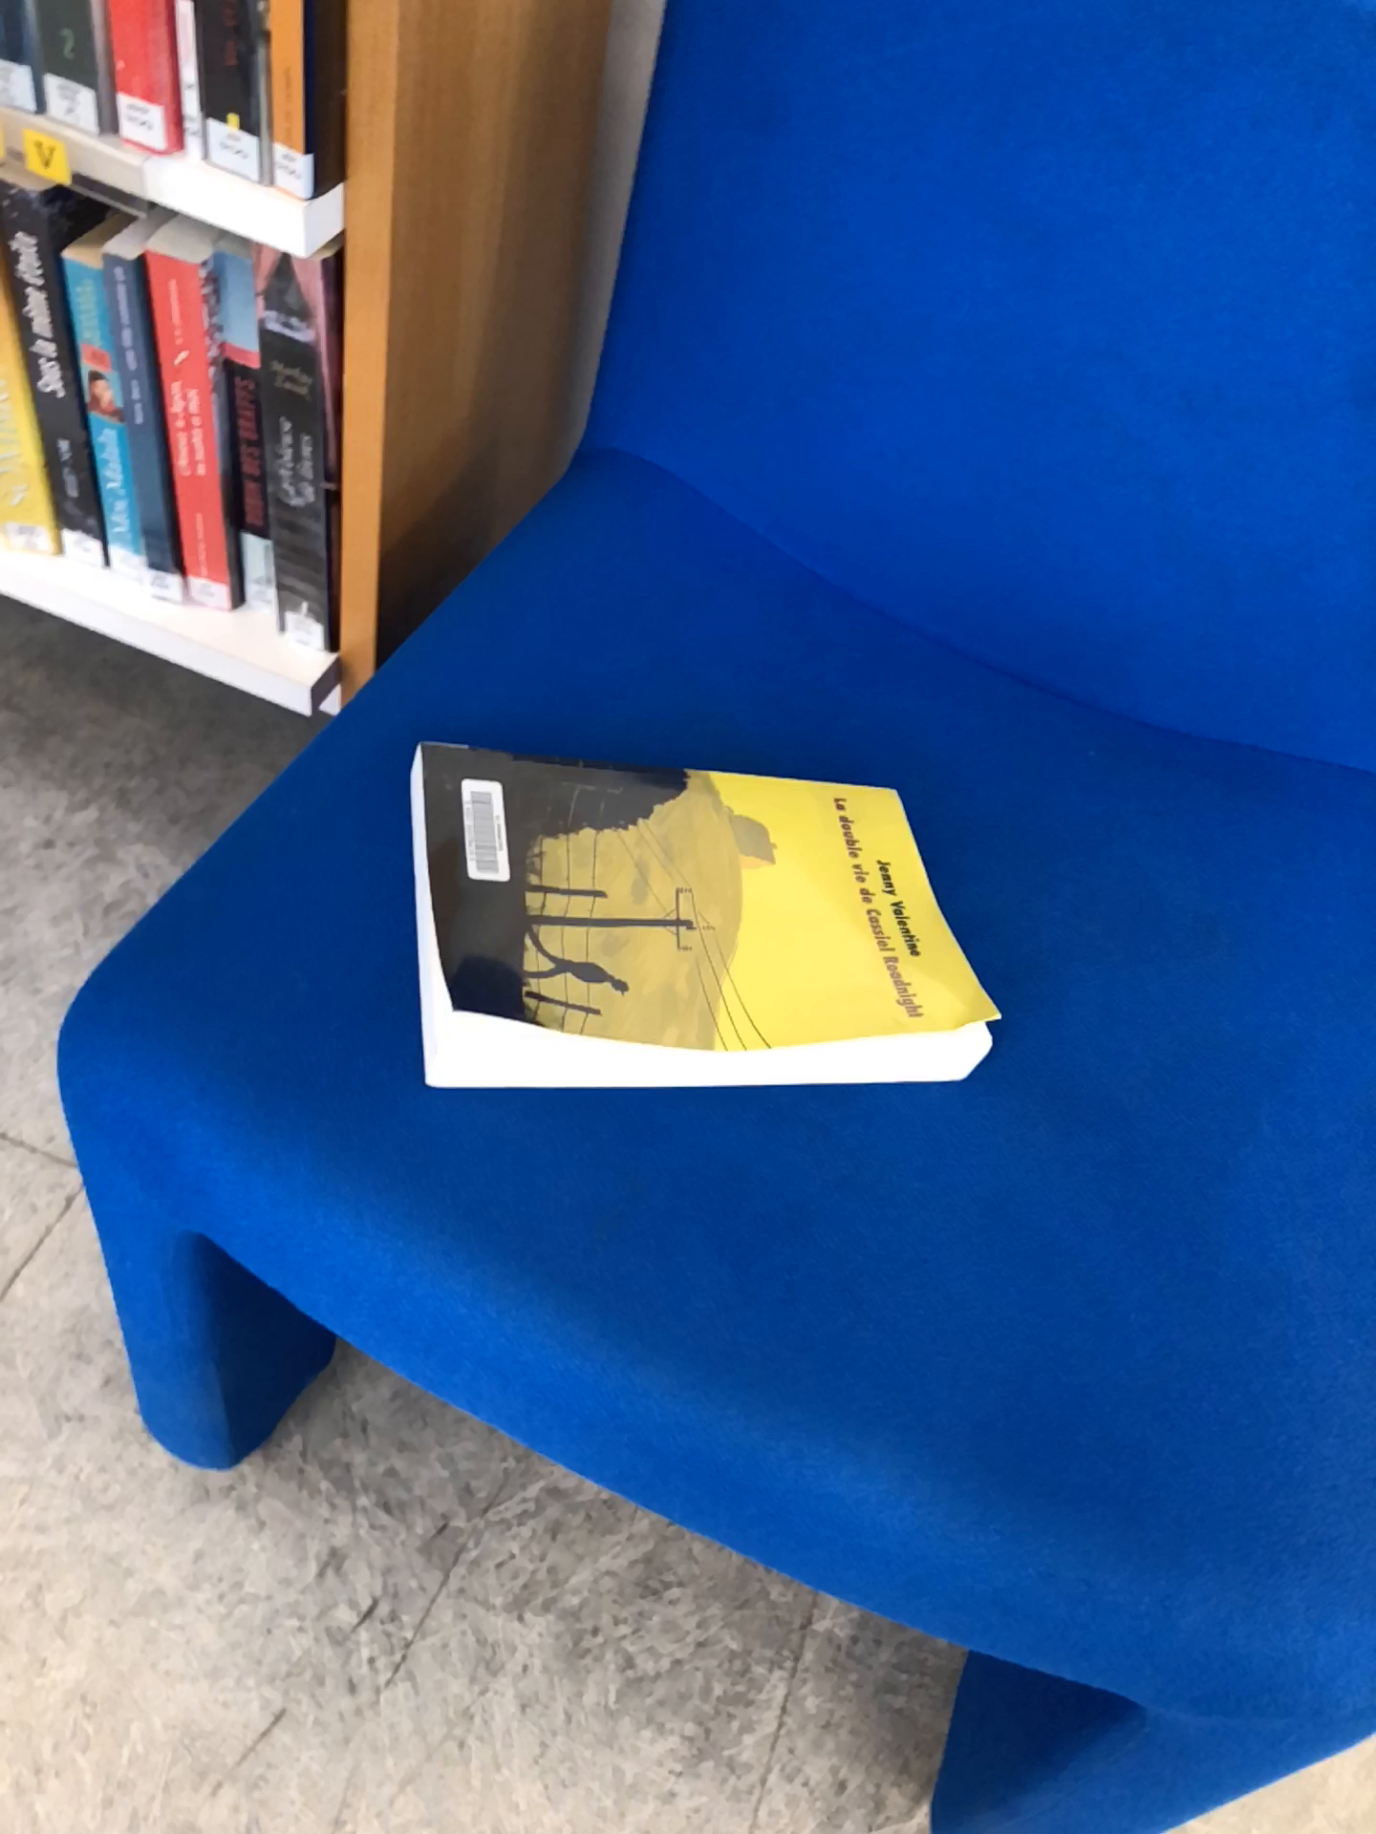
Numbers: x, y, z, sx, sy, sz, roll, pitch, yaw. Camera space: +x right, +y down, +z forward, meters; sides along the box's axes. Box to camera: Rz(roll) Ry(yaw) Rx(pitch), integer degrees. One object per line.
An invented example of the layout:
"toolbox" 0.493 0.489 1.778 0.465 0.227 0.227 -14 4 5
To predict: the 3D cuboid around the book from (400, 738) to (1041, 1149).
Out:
"book" 0.006 0.010 0.556 0.215 0.040 0.146 4 50 -17
